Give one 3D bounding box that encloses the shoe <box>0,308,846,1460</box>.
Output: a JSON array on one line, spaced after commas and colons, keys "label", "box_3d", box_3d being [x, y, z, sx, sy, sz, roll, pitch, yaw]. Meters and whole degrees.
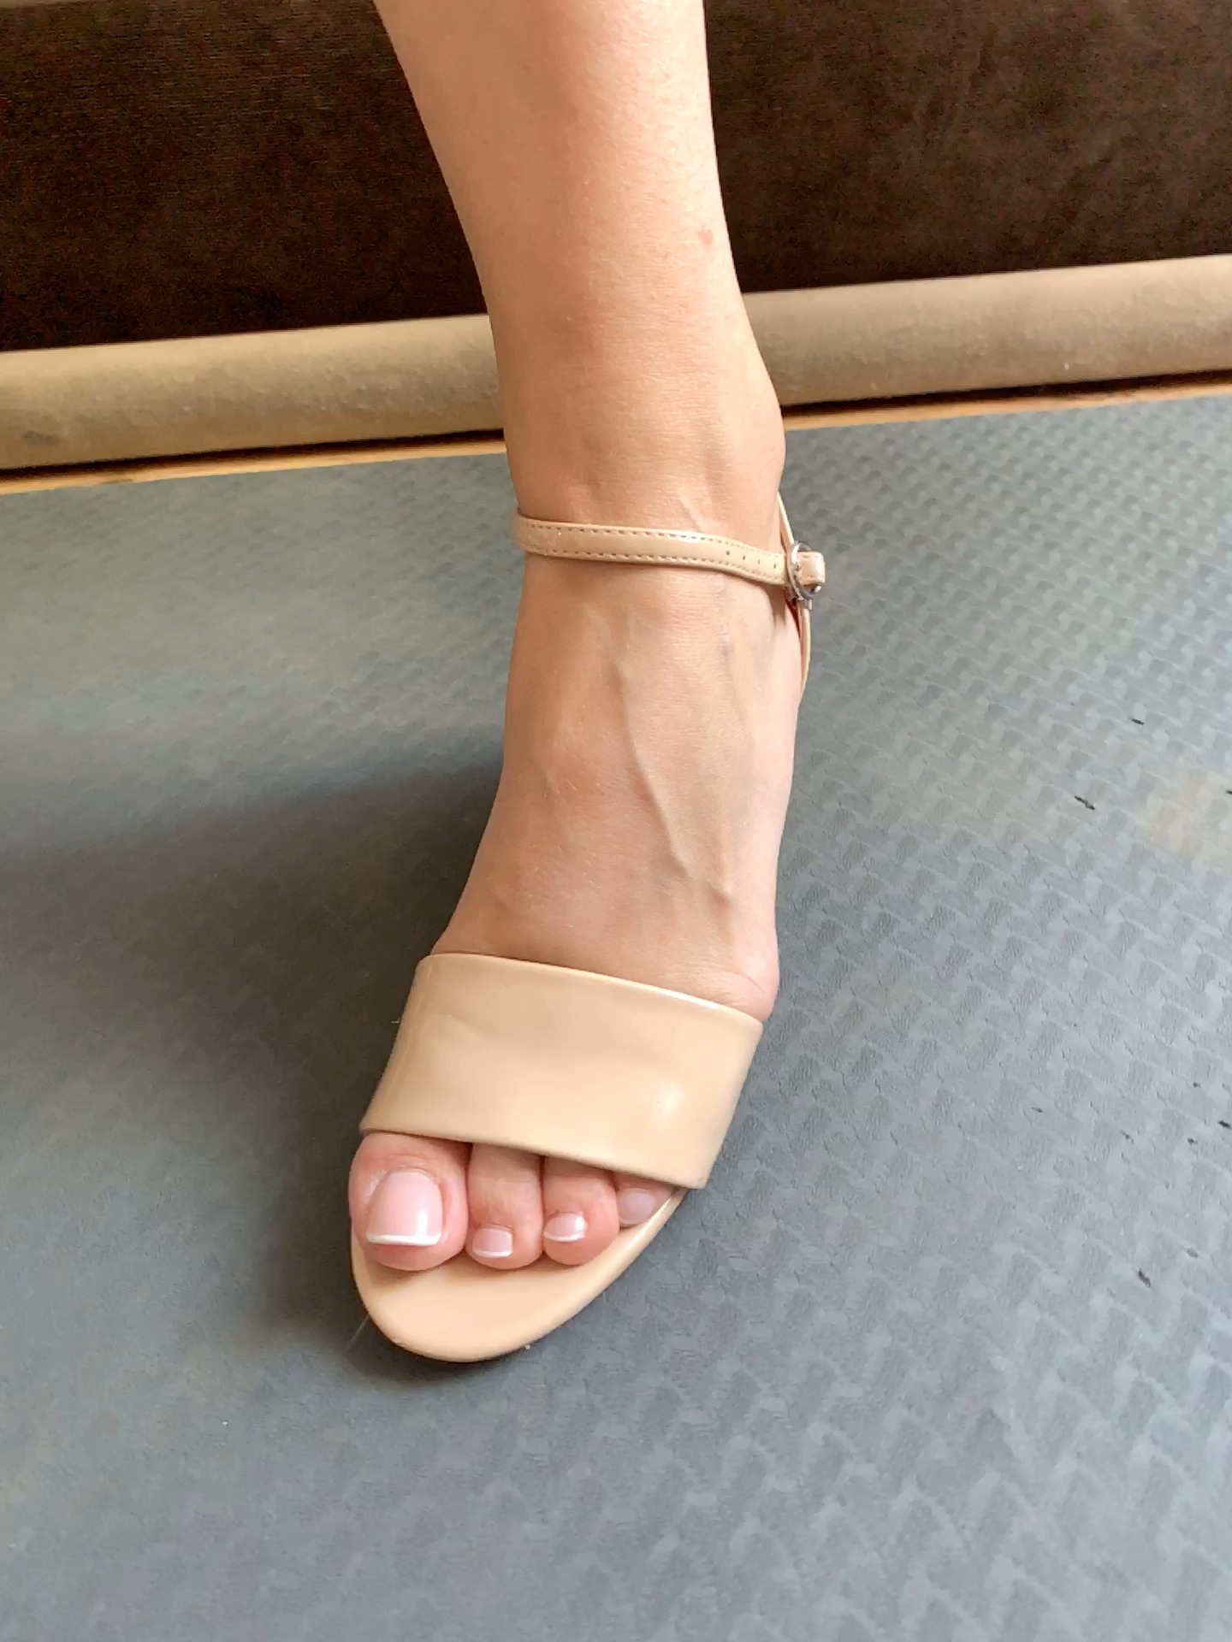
[{"label": "shoe", "box_3d": [-0.015, -0.015, 0.297, 0.090, 0.119, 0.251, 9, 41, 14]}]
